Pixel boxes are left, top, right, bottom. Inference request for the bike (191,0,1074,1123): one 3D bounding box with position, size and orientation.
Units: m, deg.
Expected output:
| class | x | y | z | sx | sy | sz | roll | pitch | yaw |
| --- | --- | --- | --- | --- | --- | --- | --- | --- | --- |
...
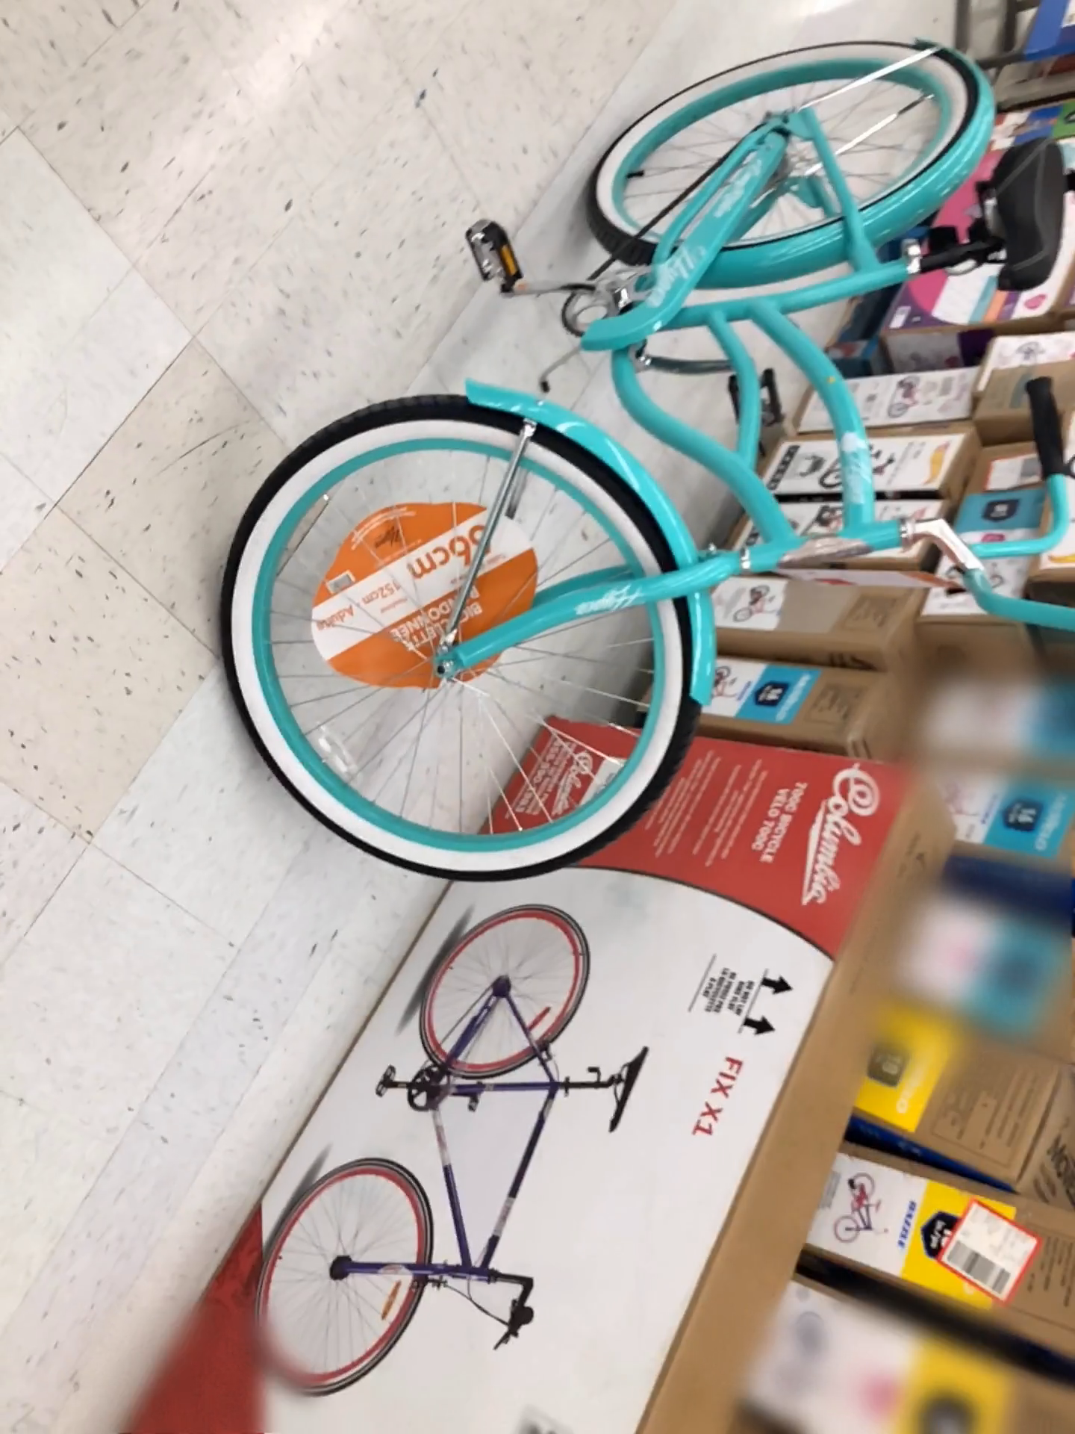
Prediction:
| class | x | y | z | sx | sy | sz | roll | pitch | yaw |
| --- | --- | --- | --- | --- | --- | --- | --- | --- | --- |
| bike | 0.472 | -0.499 | 1.713 | 0.855 | 1.152 | 1.583 | 42 | 63 | -46 |
